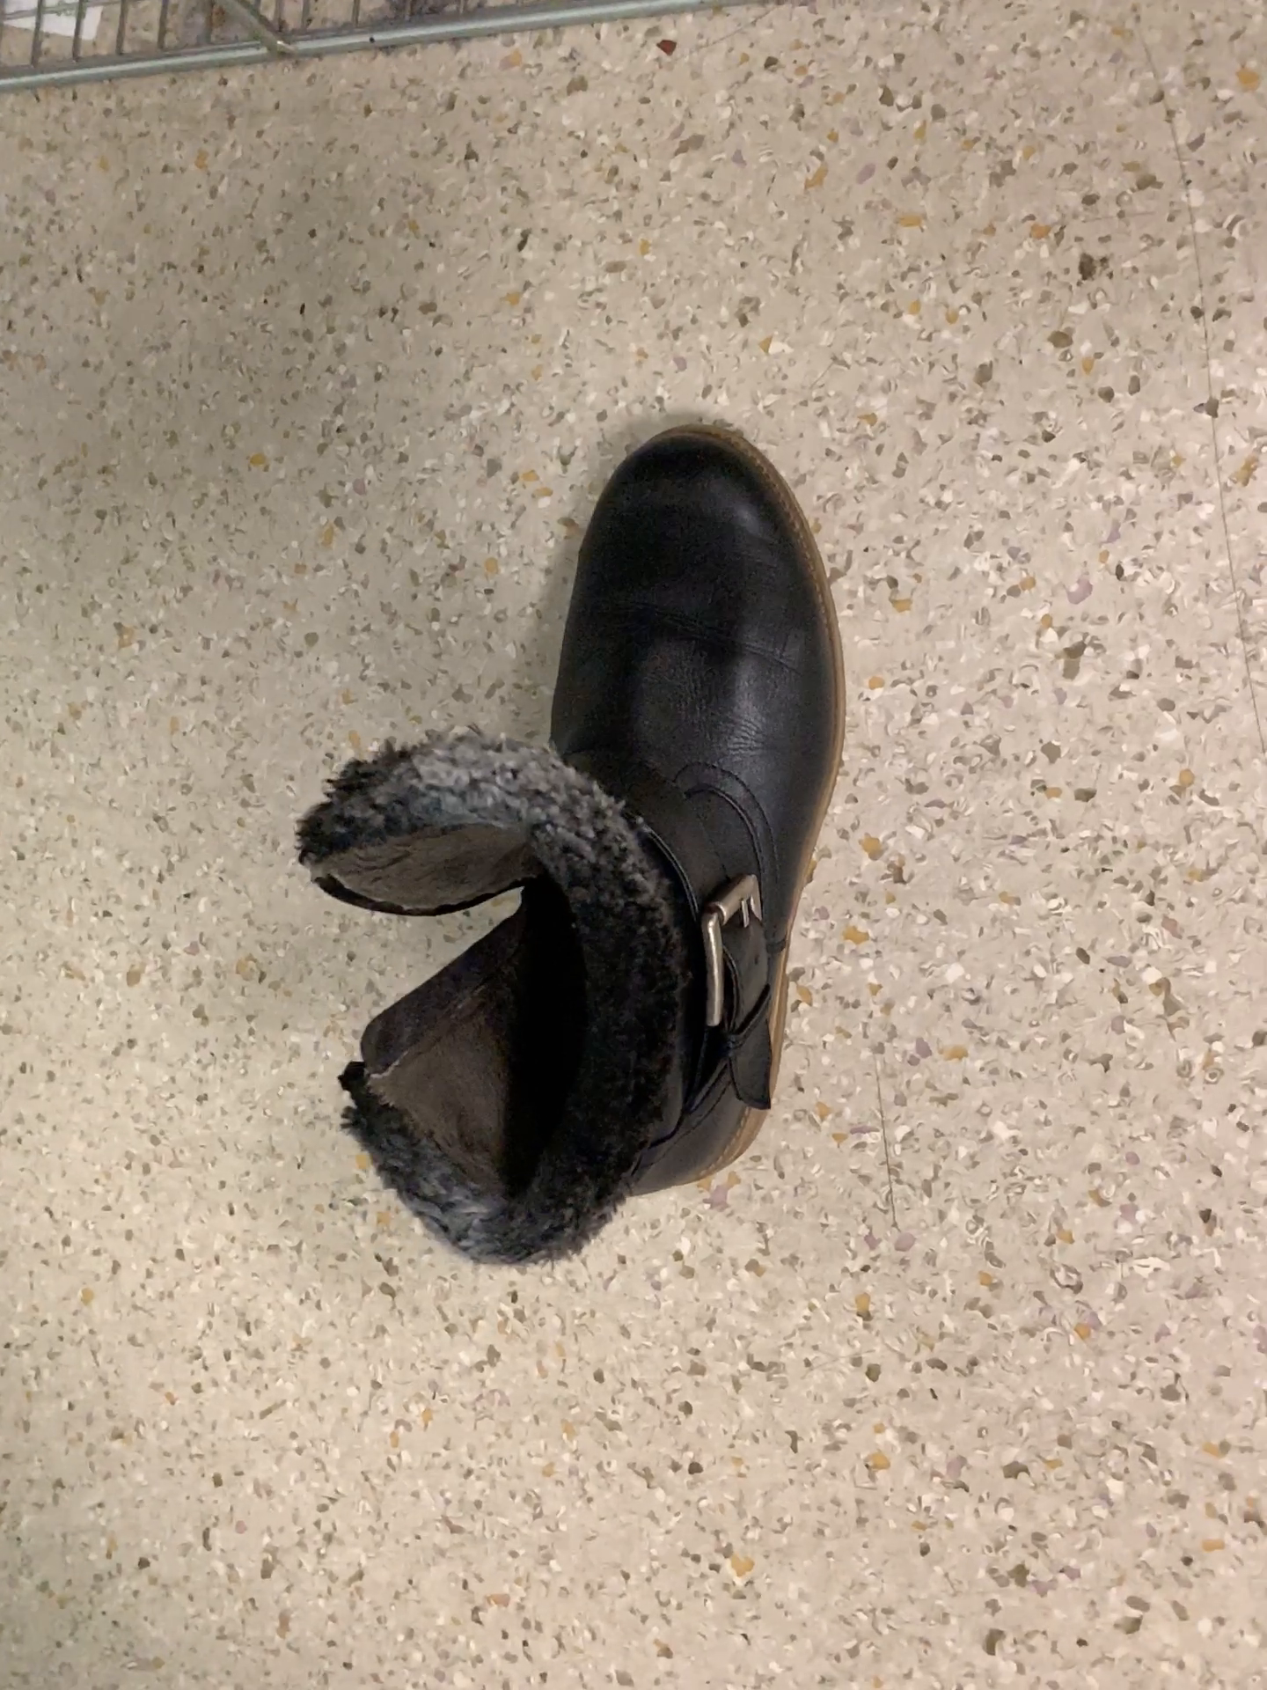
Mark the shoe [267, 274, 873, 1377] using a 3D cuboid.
[{"bbox_3d":[-0.005,-0.005,0.375,0.104,0.169,0.236,3,90,22],"label":"shoe"}]
